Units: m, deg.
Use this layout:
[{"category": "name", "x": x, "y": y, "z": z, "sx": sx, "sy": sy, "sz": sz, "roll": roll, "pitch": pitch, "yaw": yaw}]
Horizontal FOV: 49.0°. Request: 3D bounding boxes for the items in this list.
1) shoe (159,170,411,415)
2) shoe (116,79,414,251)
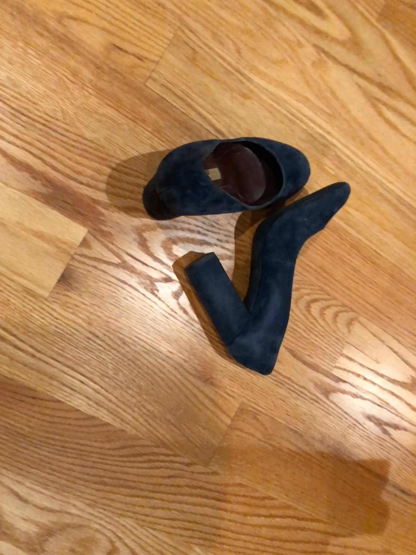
[{"category": "shoe", "x": 0.082, "y": 0.010, "z": 0.479, "sx": 0.205, "sy": 0.080, "sz": 0.152, "roll": -33, "pitch": 102, "yaw": -15}, {"category": "shoe", "x": 0.044, "y": -0.099, "z": 0.431, "sx": 0.226, "sy": 0.146, "sz": 0.080, "roll": -19, "pitch": 98, "yaw": -18}]
